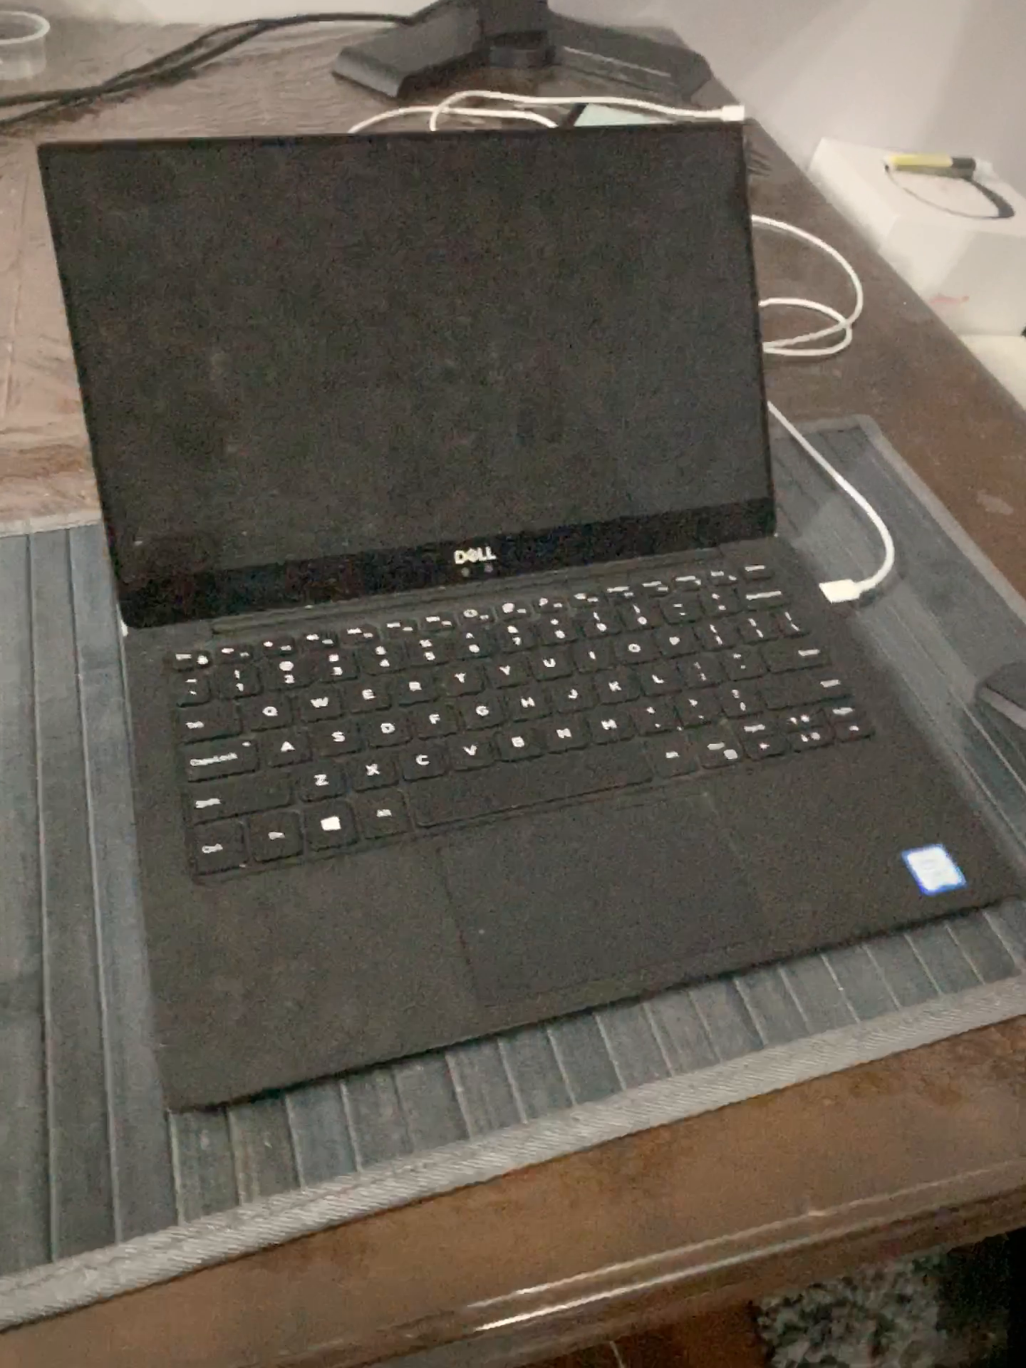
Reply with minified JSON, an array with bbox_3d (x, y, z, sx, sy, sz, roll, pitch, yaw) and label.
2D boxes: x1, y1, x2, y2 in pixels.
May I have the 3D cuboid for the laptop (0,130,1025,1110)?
[{"bbox_3d":[-0.008,-0.060,0.367,0.282,0.129,0.298,-10,50,-15],"label":"laptop"}]
